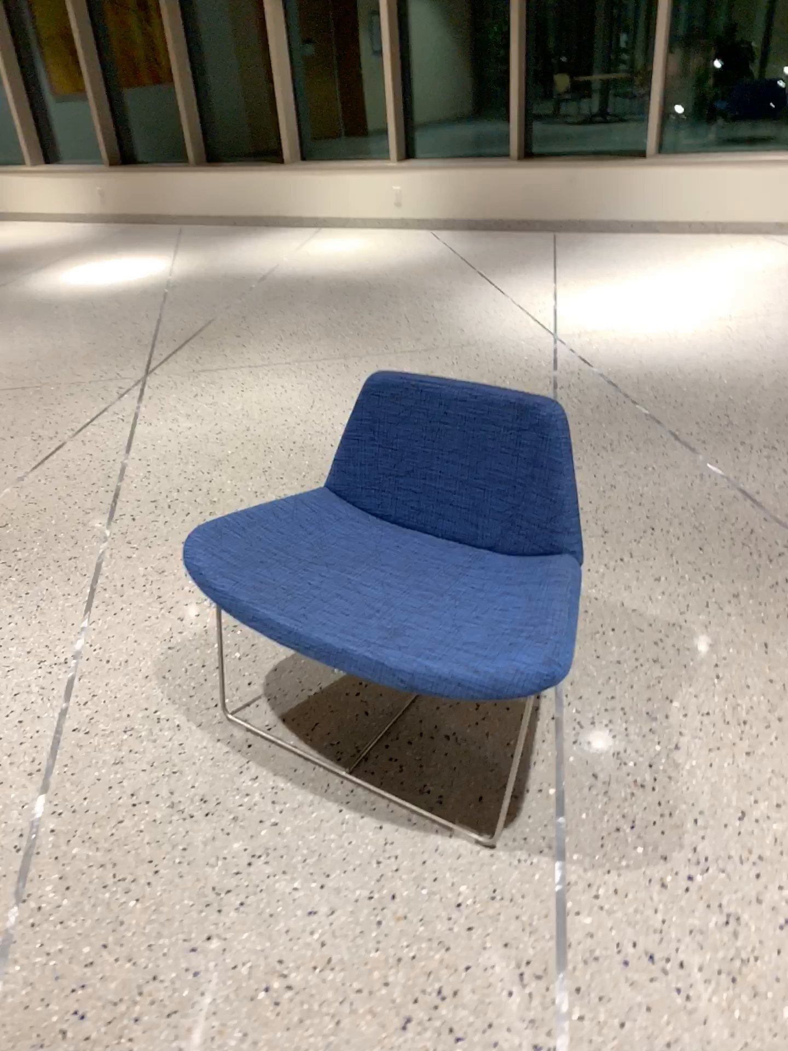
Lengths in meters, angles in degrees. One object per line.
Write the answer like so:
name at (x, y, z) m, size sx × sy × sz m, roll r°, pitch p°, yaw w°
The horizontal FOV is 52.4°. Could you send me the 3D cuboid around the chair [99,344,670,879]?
chair at (0.003, 0.091, 1.784) m, size 0.944 × 0.698 × 0.665 m, roll 15°, pitch 36°, yaw 31°
